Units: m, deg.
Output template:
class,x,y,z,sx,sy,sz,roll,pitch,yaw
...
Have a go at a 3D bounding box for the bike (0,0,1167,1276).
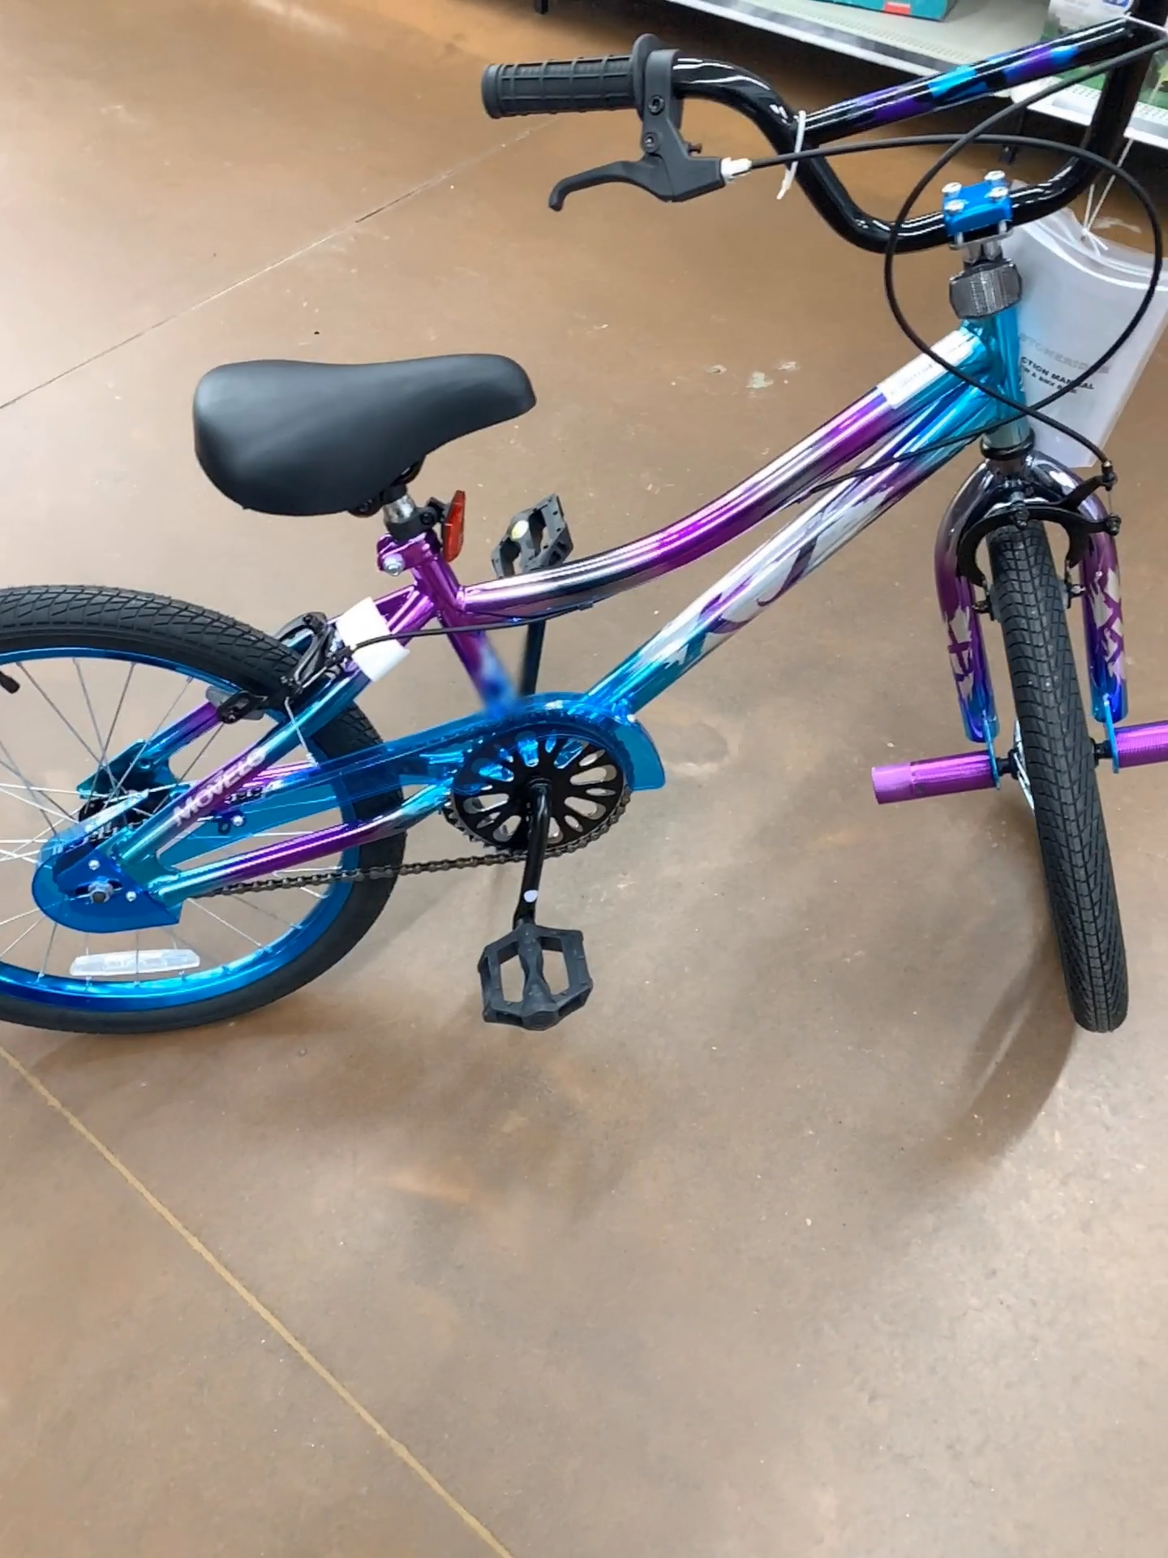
class,x,y,z,sx,sy,sz,roll,pitch,yaw
bike,-0.086,-0.262,0.947,1.120,0.877,0.622,-14,53,-13
